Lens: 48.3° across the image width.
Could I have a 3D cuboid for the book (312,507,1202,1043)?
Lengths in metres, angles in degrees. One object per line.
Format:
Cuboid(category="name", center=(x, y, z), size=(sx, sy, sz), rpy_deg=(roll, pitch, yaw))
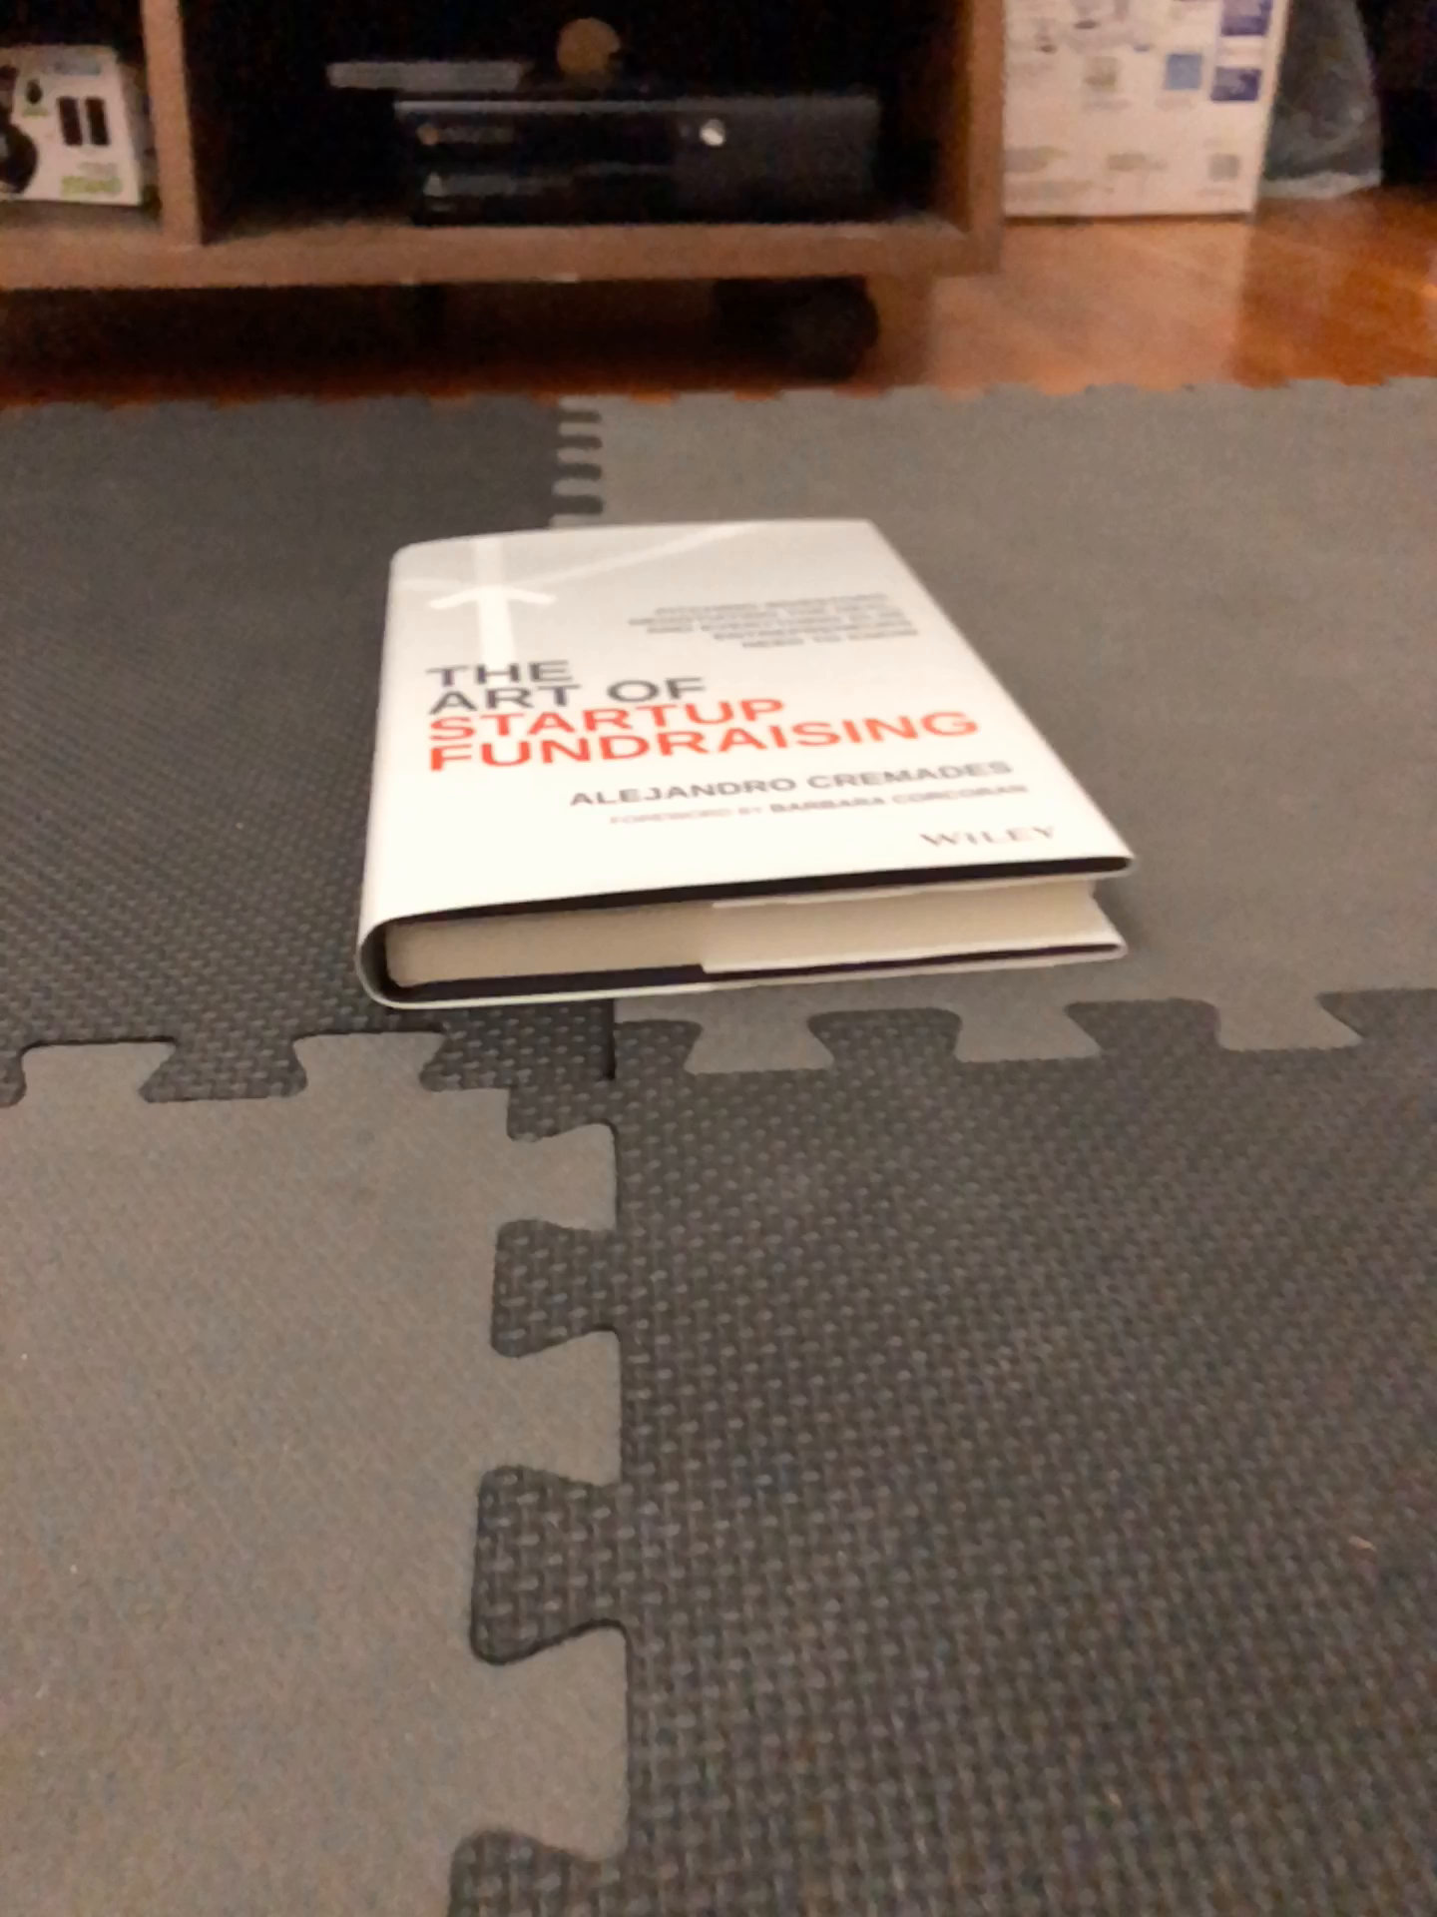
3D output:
Cuboid(category="book", center=(-0.005, -0.066, 0.418), size=(0.170, 0.030, 0.251), rpy_deg=(-4, 31, -6))
